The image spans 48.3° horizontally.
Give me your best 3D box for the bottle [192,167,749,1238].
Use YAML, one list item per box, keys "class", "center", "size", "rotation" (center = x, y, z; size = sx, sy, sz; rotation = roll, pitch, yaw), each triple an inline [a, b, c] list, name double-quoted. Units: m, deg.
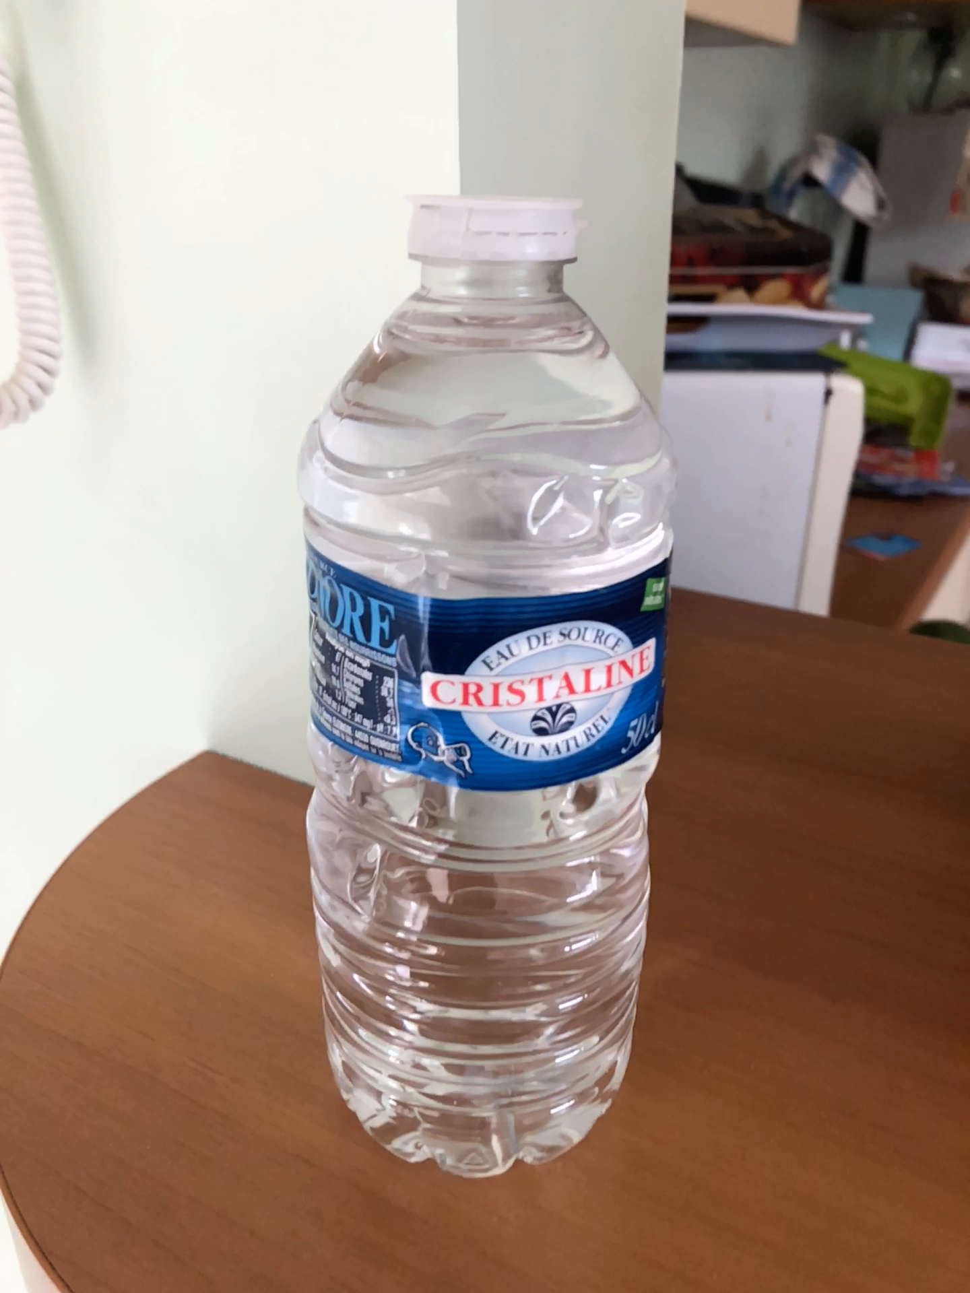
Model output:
- class: "bottle"
  center: [-0.007, 0.009, 0.213]
  size: [0.070, 0.189, 0.070]
  rotation: [0, 23, 0]
